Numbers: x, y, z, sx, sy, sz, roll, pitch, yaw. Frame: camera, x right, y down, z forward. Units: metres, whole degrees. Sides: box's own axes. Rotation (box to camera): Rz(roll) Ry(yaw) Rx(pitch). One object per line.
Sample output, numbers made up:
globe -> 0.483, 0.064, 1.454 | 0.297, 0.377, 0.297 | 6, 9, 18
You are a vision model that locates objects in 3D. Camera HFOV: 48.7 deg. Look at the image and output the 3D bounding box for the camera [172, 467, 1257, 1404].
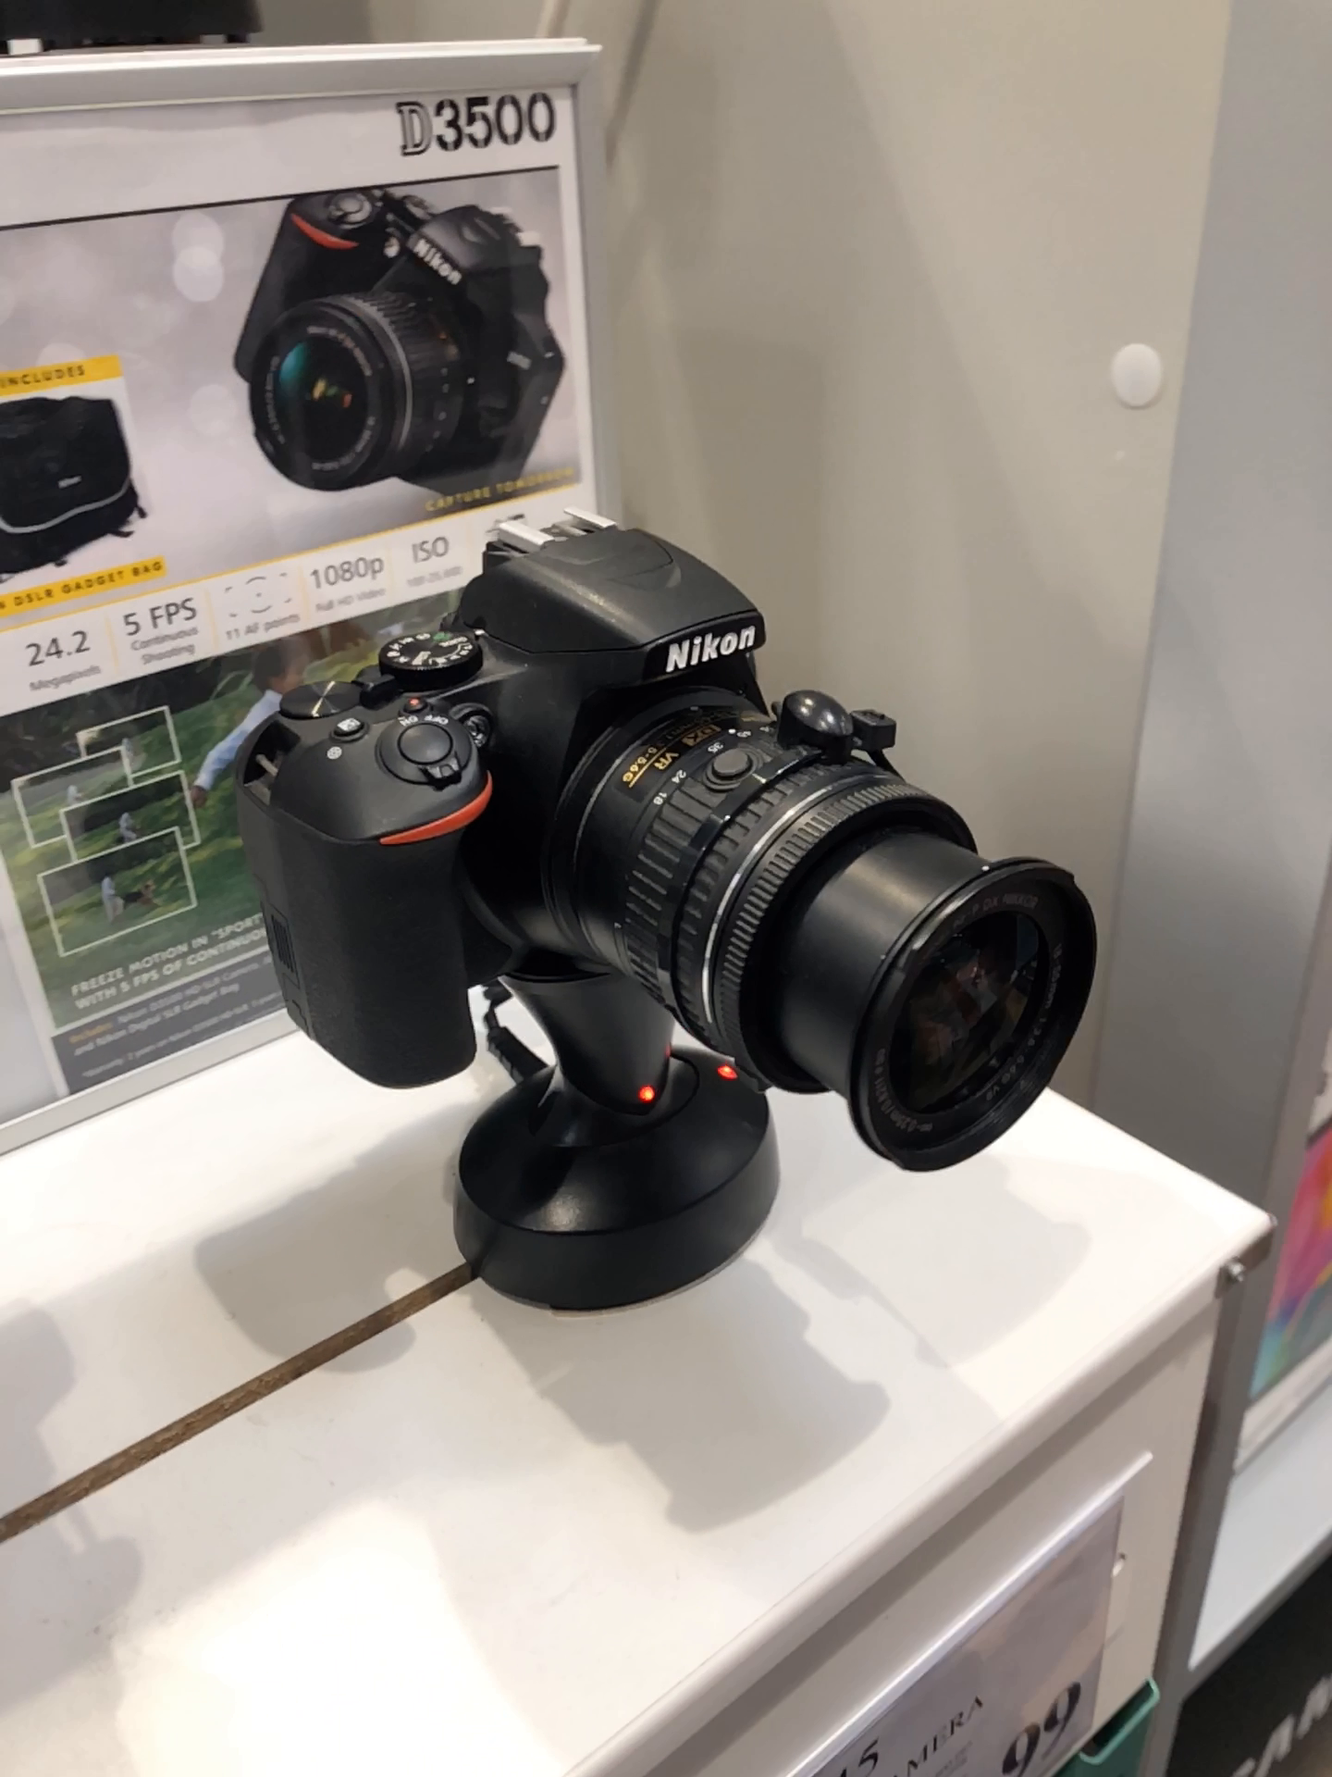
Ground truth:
camera -> 0.005, -0.011, 0.279 | 0.130, 0.089, 0.141 | -23, 35, -32
